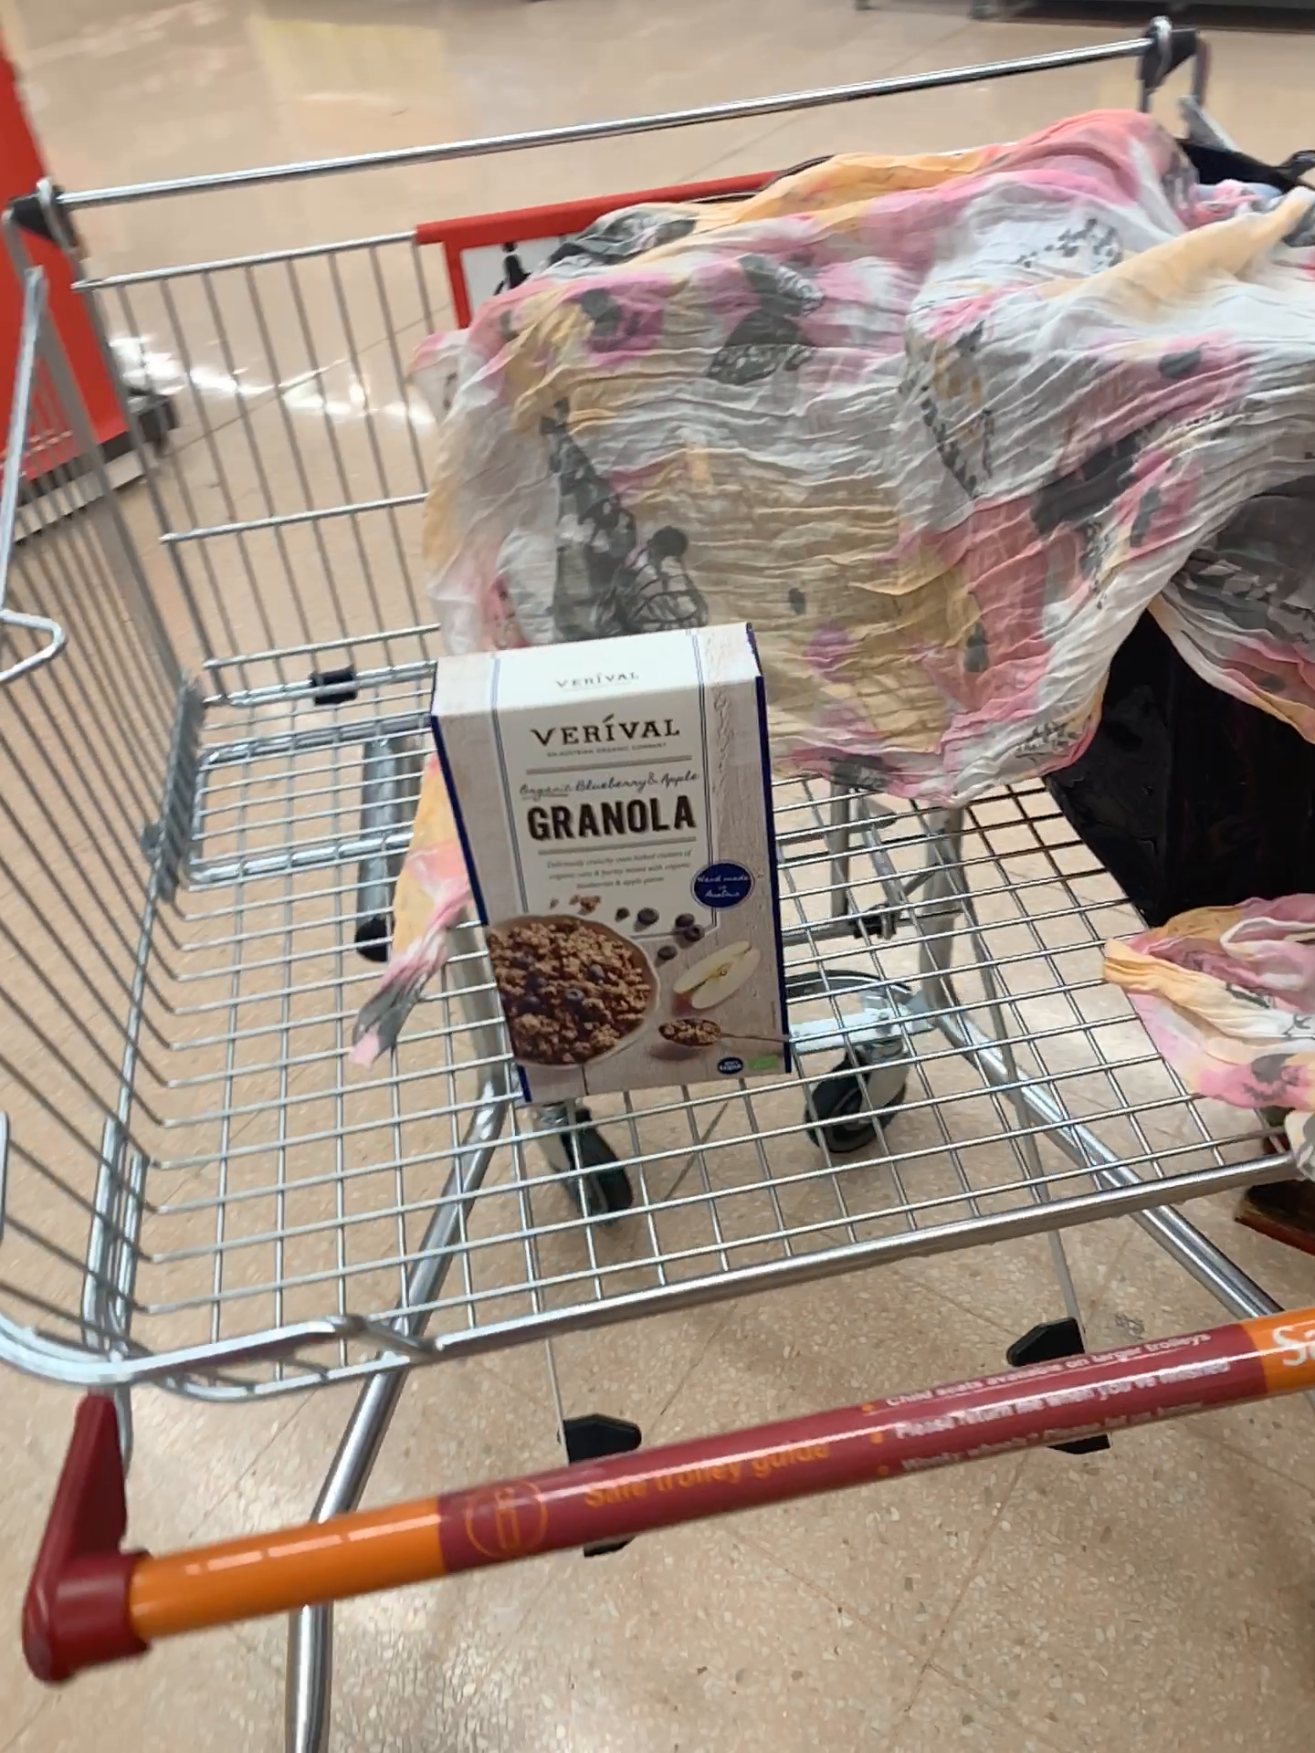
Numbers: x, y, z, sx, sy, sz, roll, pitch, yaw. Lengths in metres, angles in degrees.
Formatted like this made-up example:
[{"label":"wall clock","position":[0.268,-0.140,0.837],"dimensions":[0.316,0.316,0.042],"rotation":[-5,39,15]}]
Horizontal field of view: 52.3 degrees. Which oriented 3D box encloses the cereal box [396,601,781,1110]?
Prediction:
[{"label":"cereal box","position":[-0.021,0.000,0.595],"dimensions":[0.140,0.228,0.050],"rotation":[-6,38,0]}]
